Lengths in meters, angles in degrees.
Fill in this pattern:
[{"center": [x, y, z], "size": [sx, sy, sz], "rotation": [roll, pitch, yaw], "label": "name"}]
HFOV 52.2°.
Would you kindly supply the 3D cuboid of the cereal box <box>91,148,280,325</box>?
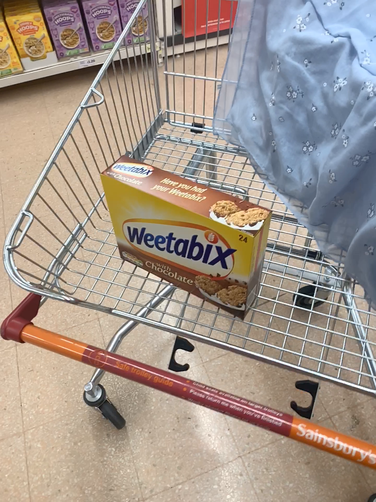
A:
[{"center": [-0.009, -0.019, 0.566], "size": [0.251, 0.188, 0.060], "rotation": [25, 55, 21], "label": "cereal box"}]
